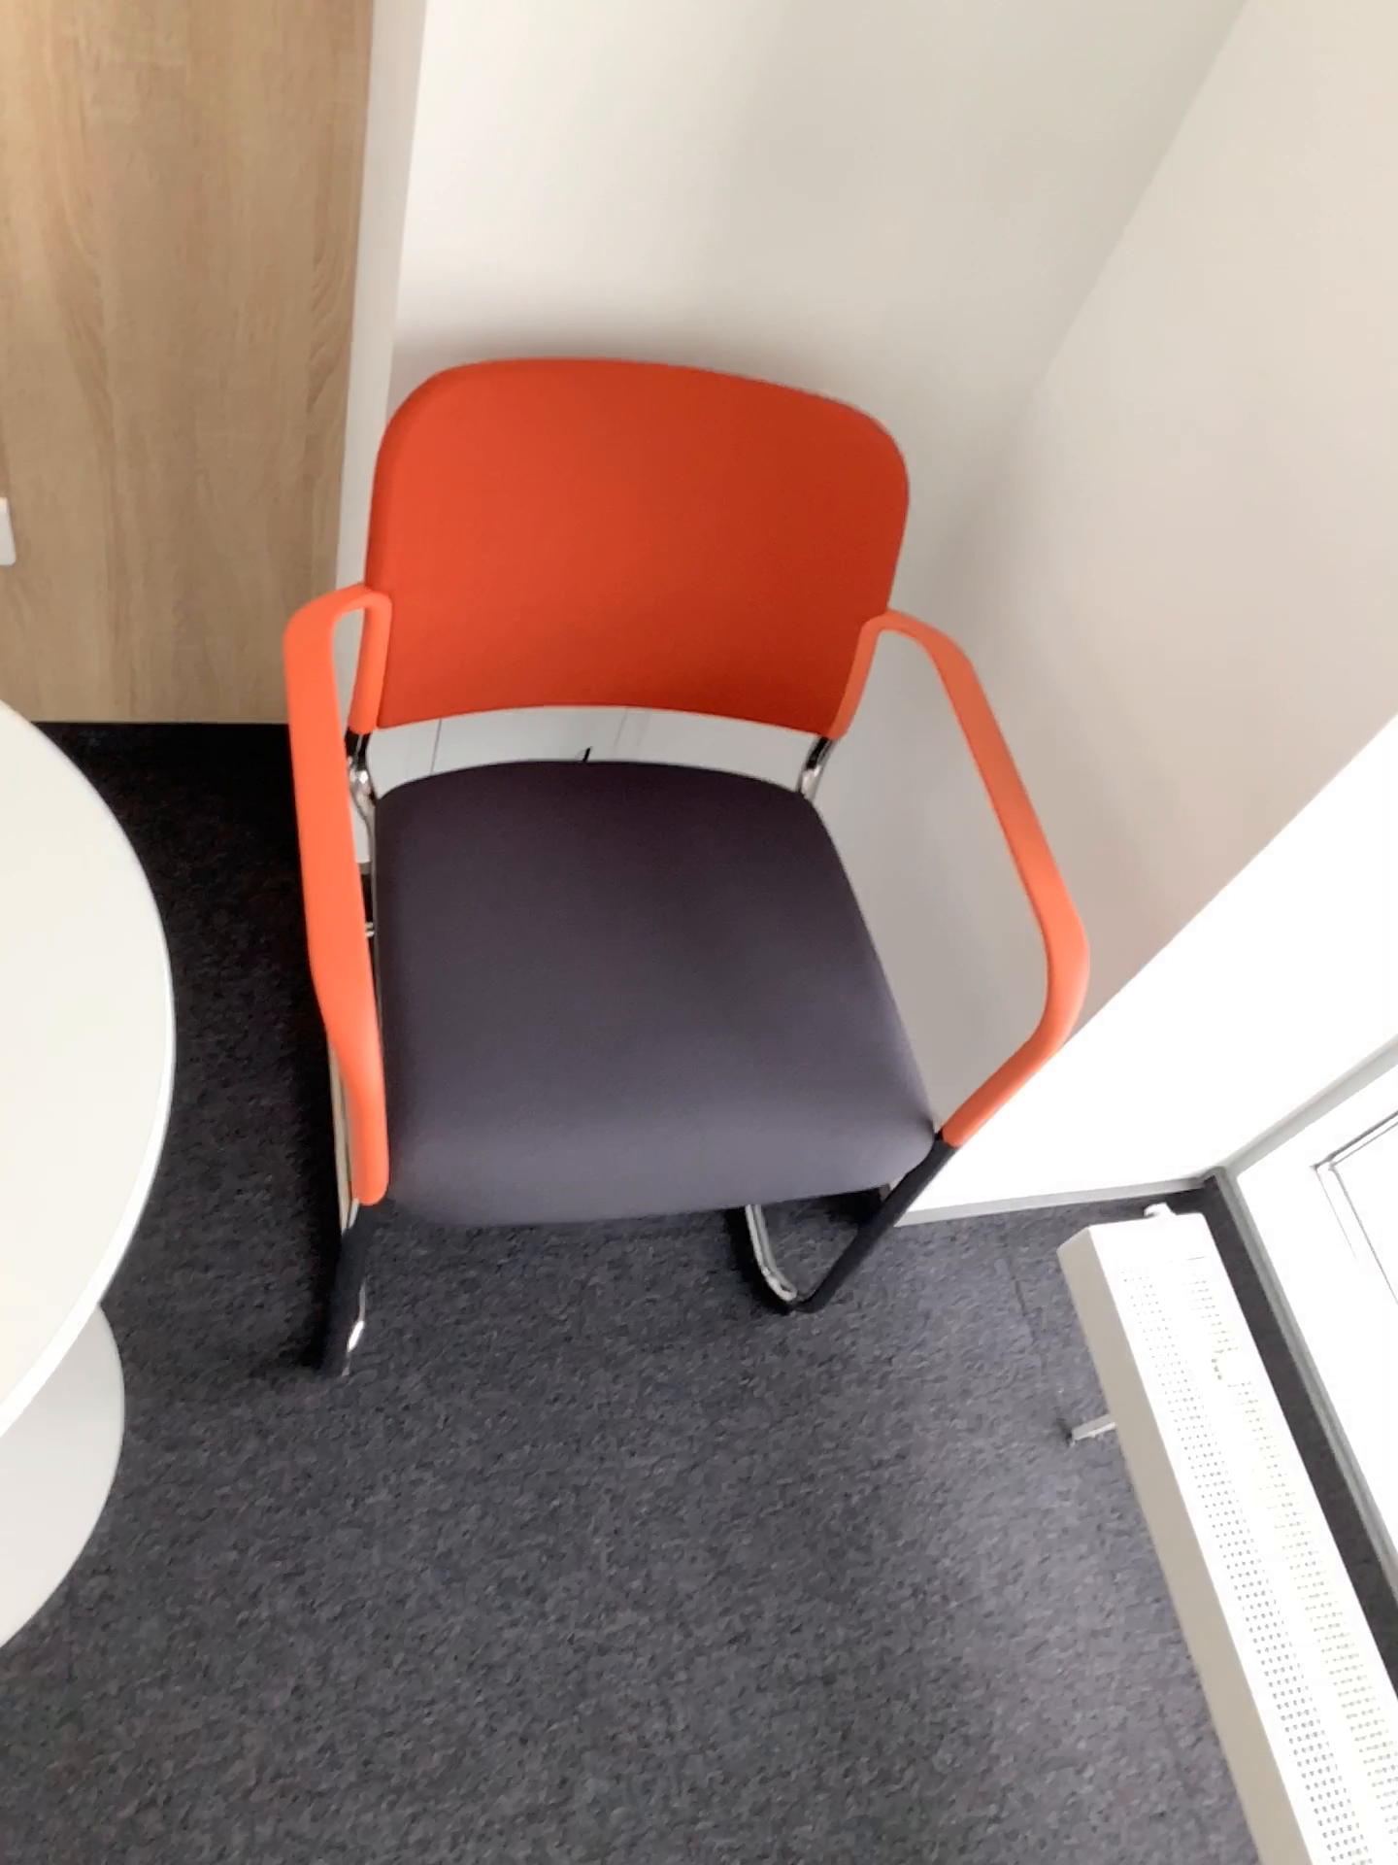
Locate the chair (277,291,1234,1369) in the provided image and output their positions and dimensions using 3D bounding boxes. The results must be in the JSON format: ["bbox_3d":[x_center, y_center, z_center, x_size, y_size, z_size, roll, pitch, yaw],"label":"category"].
[{"bbox_3d":[-0.072,-0.025,1.286,0.571,0.776,0.562,-1,58,-18],"label":"chair"}]
